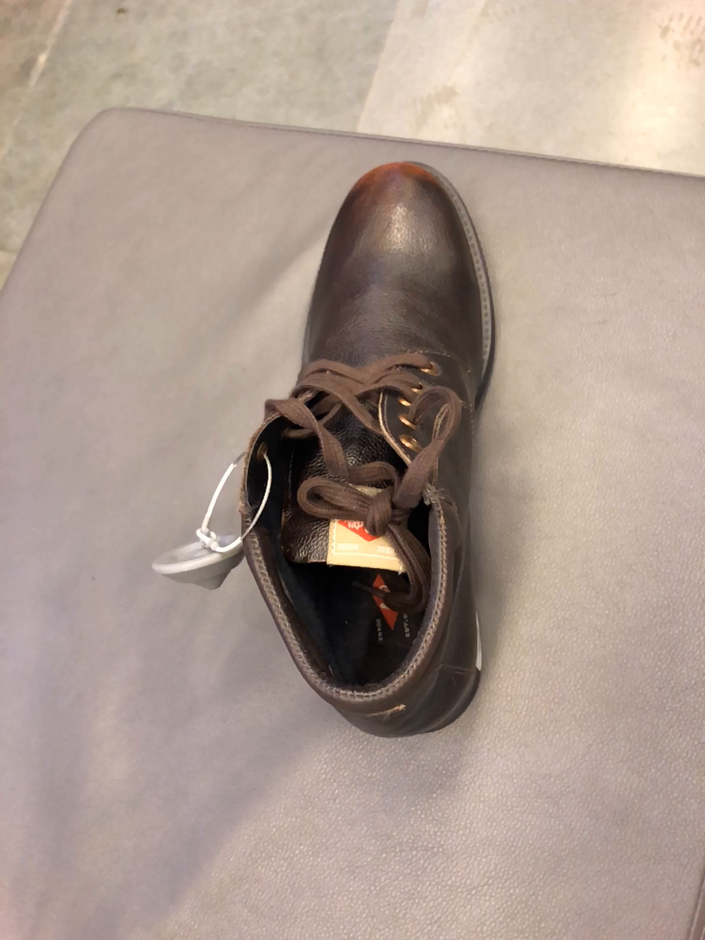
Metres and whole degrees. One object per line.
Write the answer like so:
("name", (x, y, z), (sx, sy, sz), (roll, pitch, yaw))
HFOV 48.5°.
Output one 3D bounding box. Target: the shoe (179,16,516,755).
("shoe", (0.015, -0.025, 0.391), (0.108, 0.178, 0.299), (-3, 74, 14))
